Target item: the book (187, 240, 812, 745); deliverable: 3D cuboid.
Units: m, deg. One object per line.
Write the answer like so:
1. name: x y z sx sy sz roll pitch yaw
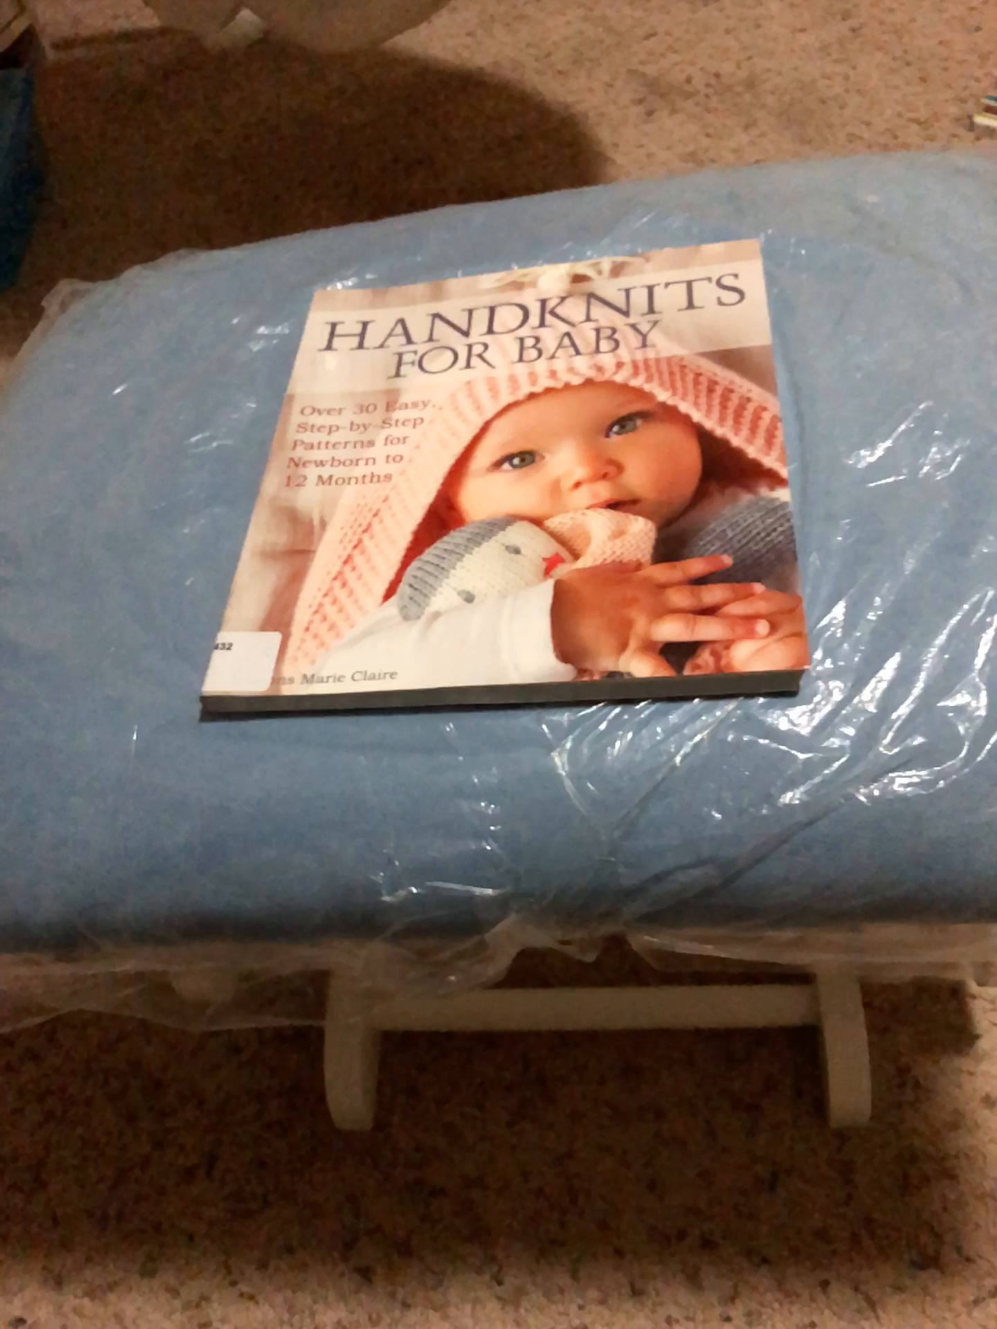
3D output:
1. book: 0.005 -0.073 0.414 0.197 0.020 0.220 -3 54 11
